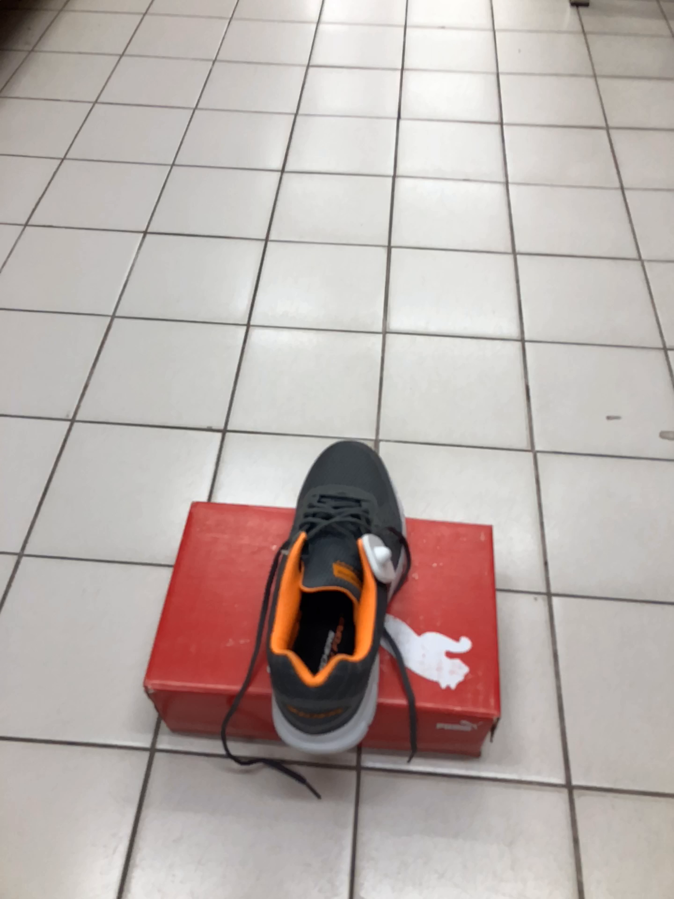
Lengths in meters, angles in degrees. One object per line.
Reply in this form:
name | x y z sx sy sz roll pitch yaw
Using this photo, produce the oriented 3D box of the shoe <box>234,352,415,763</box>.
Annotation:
shoe | 0.001 0.081 0.628 0.110 0.139 0.312 5 53 3
